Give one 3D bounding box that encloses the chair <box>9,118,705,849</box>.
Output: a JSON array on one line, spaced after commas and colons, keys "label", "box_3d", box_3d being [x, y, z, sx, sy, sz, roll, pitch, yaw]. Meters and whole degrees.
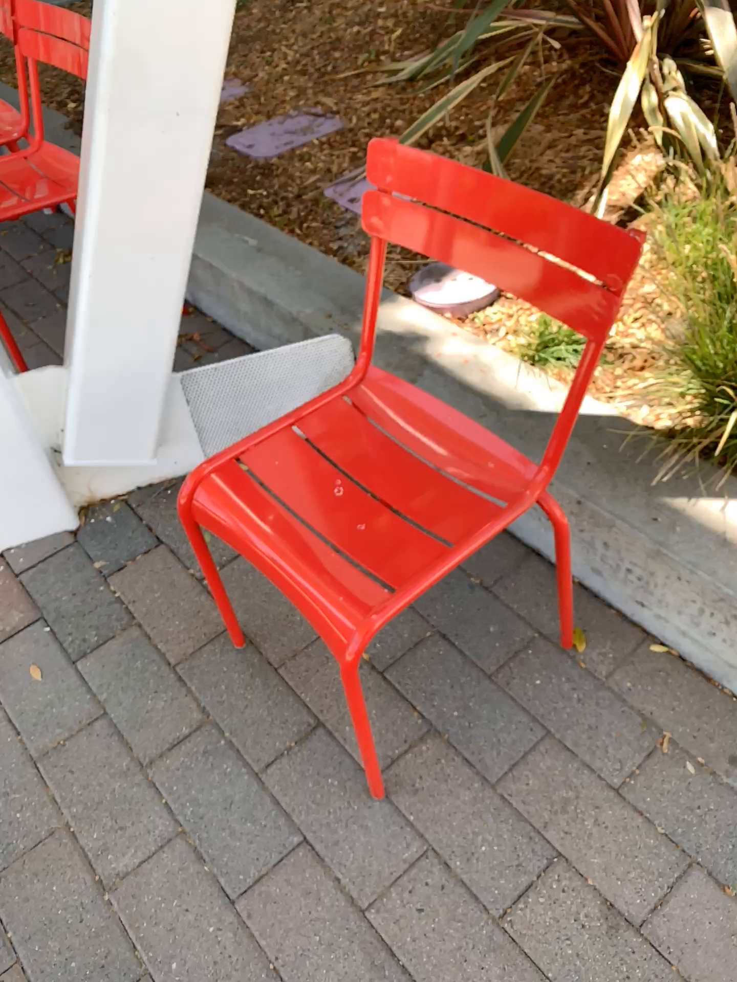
[{"label": "chair", "box_3d": [0.000, -0.024, 1.207, 0.631, 0.786, 0.583, -34, 51, -26]}]
